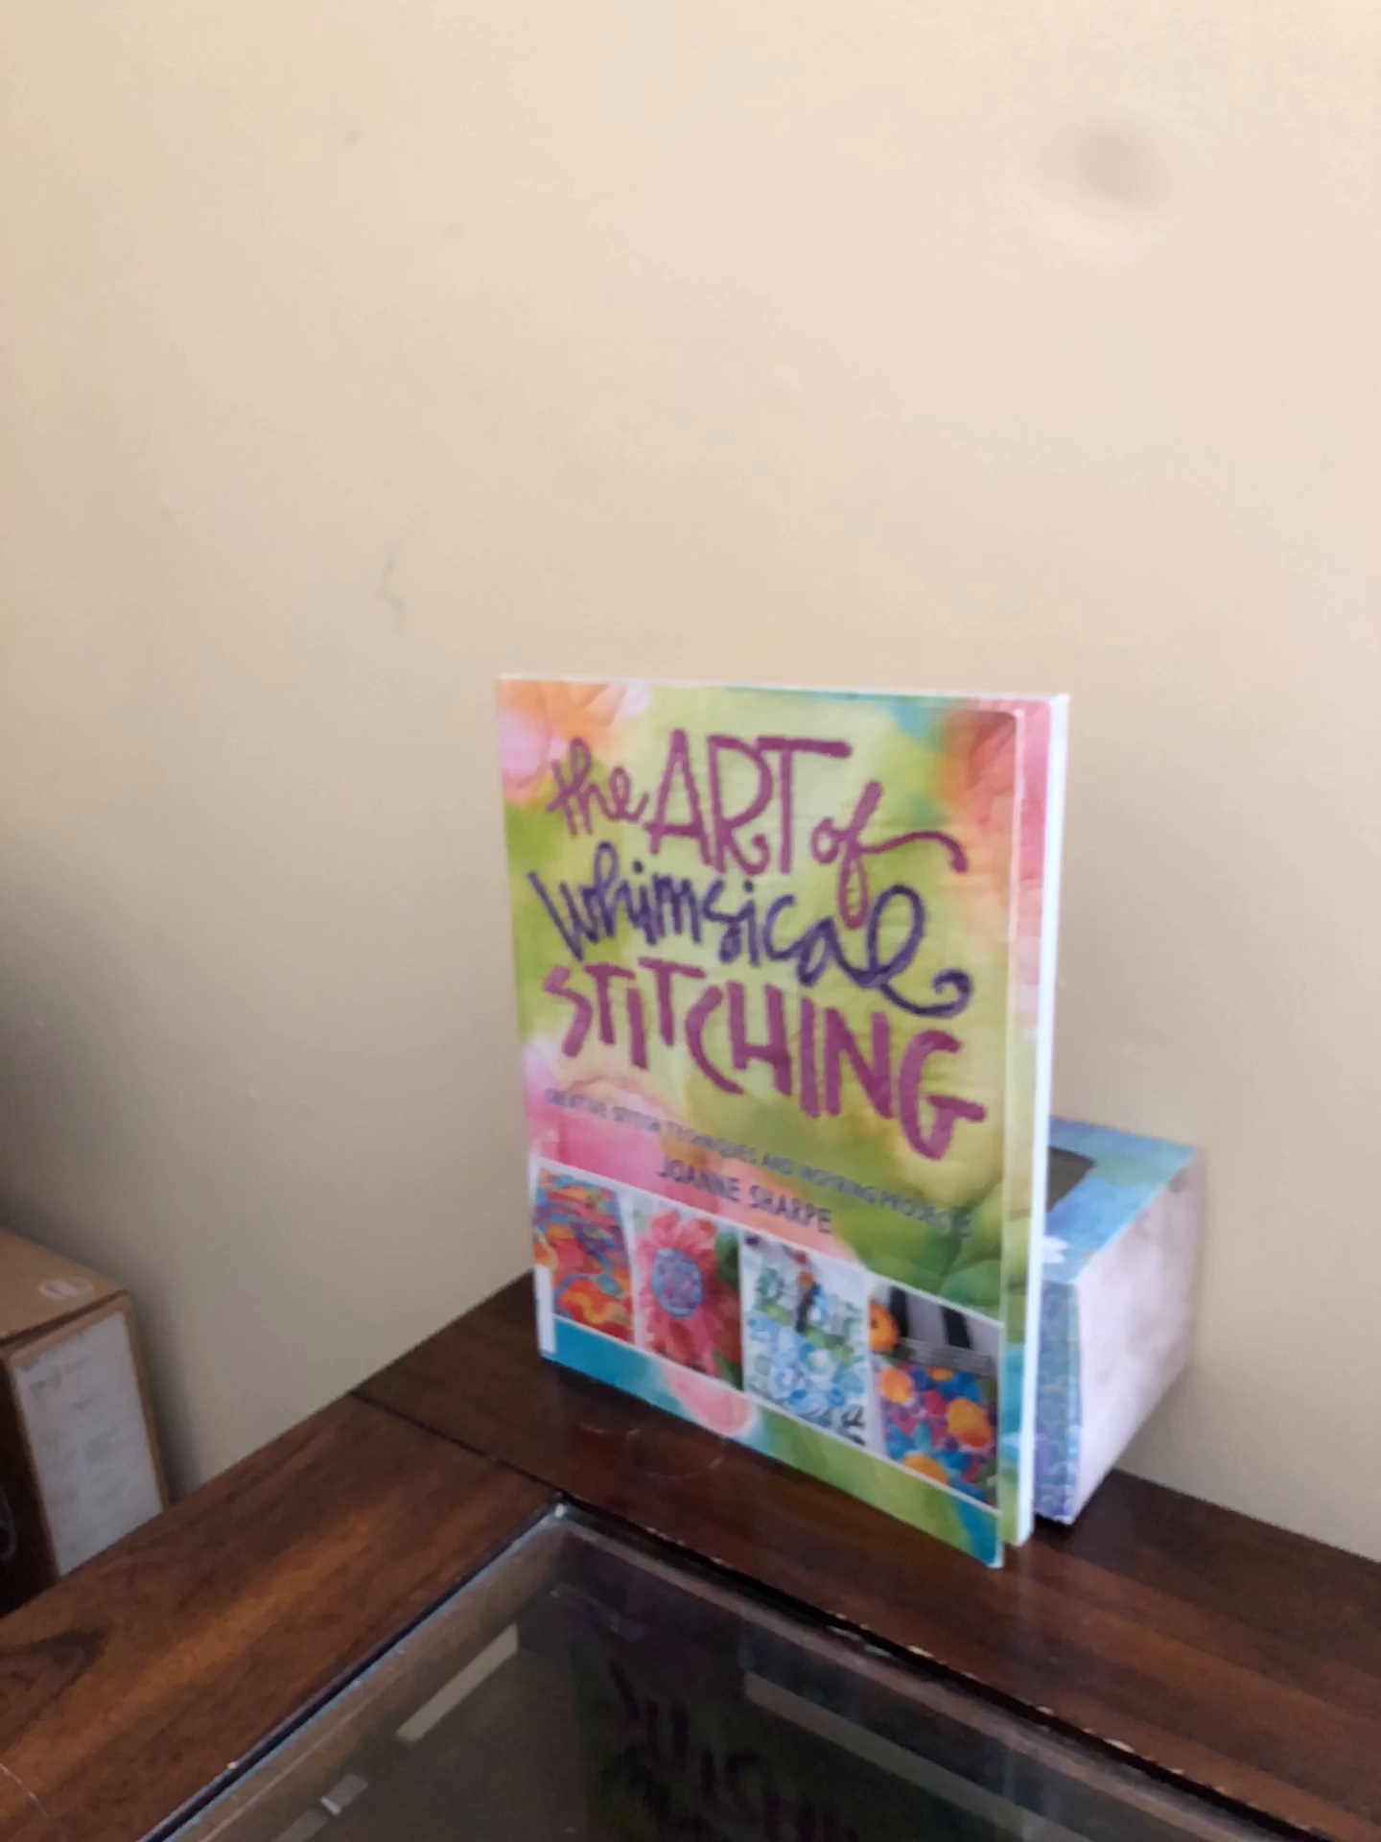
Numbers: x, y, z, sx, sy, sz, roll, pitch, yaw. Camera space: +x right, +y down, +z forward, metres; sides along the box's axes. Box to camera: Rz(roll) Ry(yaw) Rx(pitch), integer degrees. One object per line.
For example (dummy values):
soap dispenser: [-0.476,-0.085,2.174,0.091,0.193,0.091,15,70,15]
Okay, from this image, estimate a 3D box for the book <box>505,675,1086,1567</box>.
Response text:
book: [0.023,0.054,0.527,0.214,0.263,0.029,11,16,40]
